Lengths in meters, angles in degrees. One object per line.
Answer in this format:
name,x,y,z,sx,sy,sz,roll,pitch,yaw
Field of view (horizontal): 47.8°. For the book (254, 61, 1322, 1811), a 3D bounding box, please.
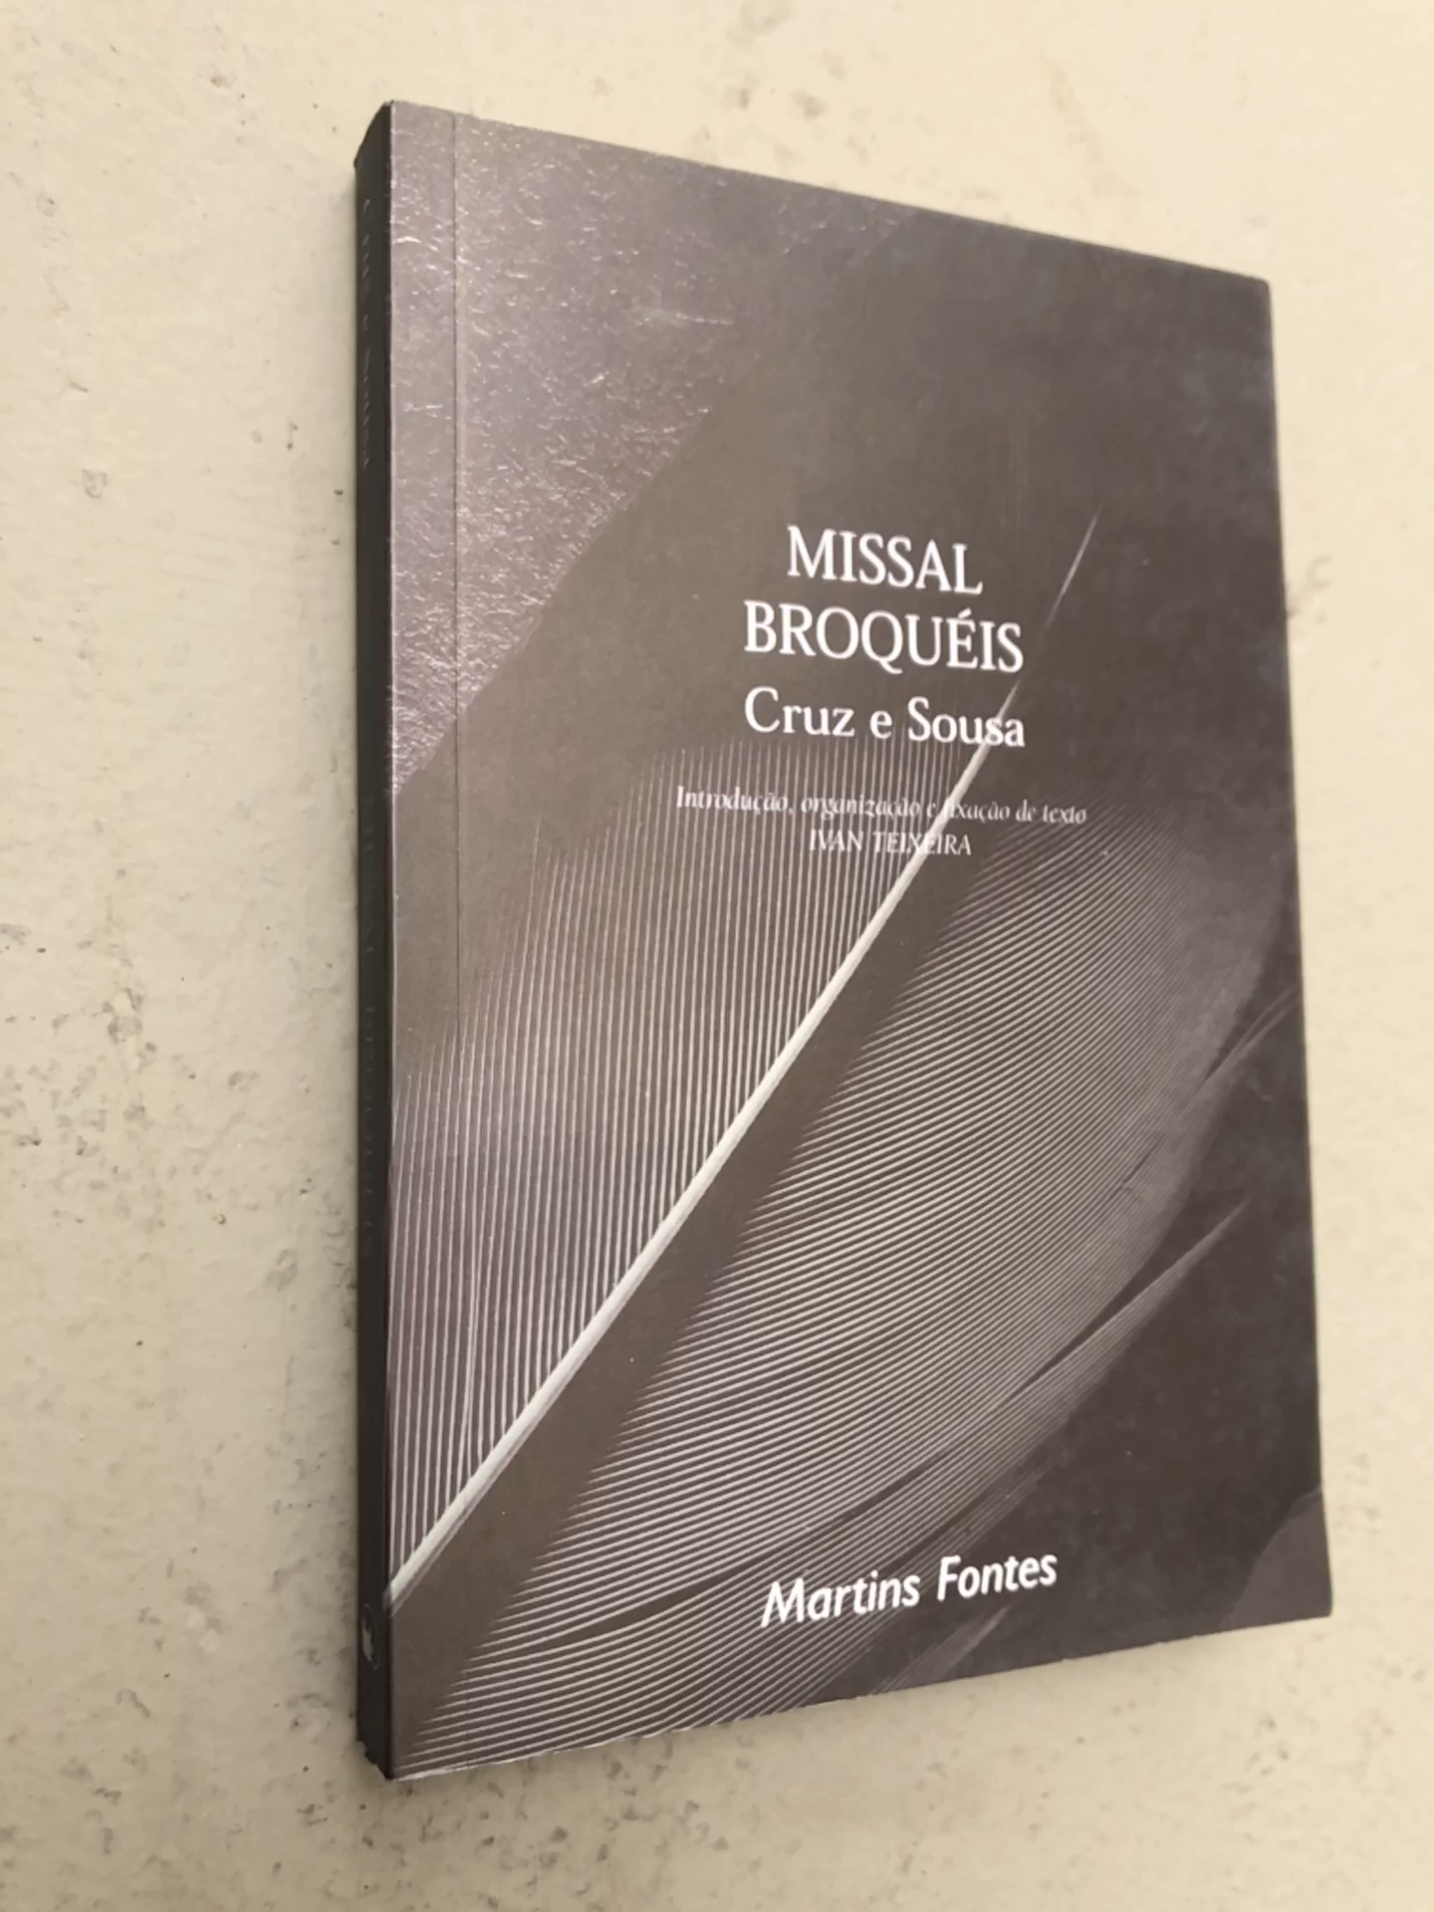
book,0.012,-0.004,0.191,0.128,0.016,0.173,0,86,-22
